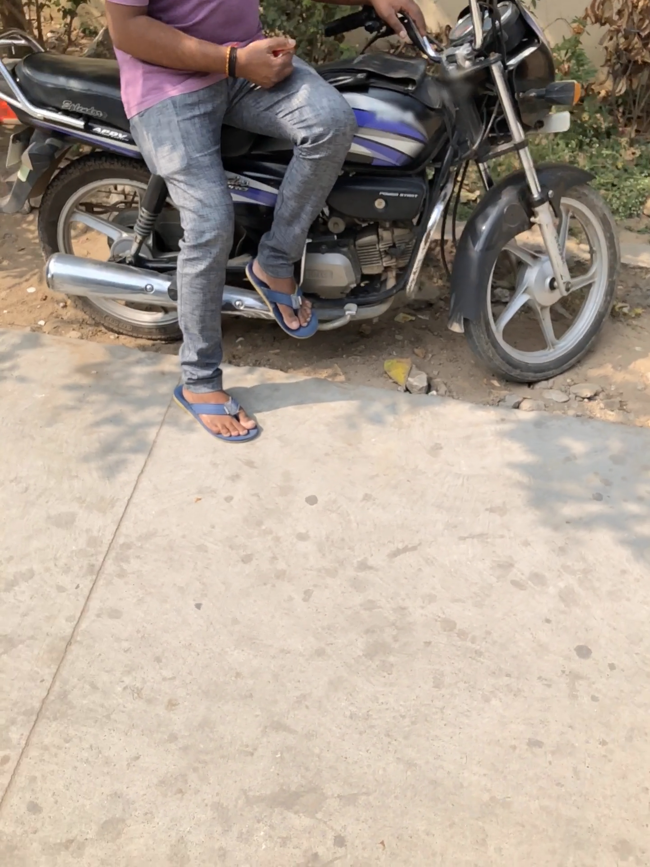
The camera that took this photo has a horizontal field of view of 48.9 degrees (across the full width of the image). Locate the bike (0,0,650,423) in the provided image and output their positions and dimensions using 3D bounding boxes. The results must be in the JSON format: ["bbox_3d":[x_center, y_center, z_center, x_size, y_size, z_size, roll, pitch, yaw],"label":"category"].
[{"bbox_3d":[0.023,-0.796,2.109,1.758,1.294,0.775,0,43,3],"label":"bike"}]
